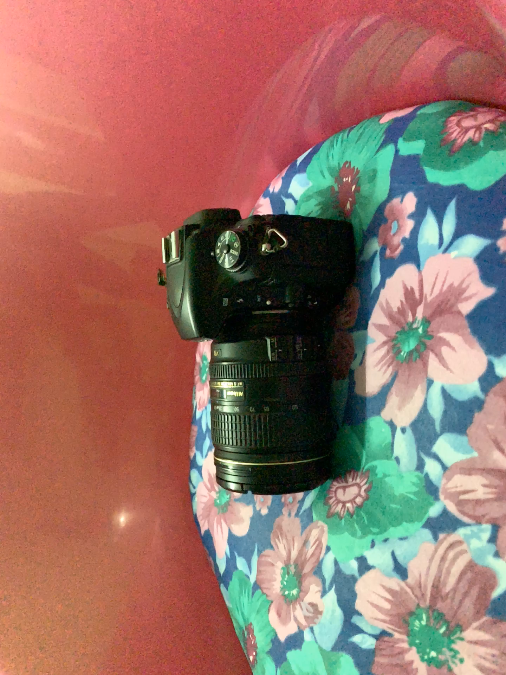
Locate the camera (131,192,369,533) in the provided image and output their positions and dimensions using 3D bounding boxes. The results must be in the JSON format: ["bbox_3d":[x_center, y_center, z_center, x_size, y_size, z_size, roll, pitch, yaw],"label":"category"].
[{"bbox_3d":[-0.010,0.017,0.362,0.141,0.110,0.179,-6,83,62],"label":"camera"}]
